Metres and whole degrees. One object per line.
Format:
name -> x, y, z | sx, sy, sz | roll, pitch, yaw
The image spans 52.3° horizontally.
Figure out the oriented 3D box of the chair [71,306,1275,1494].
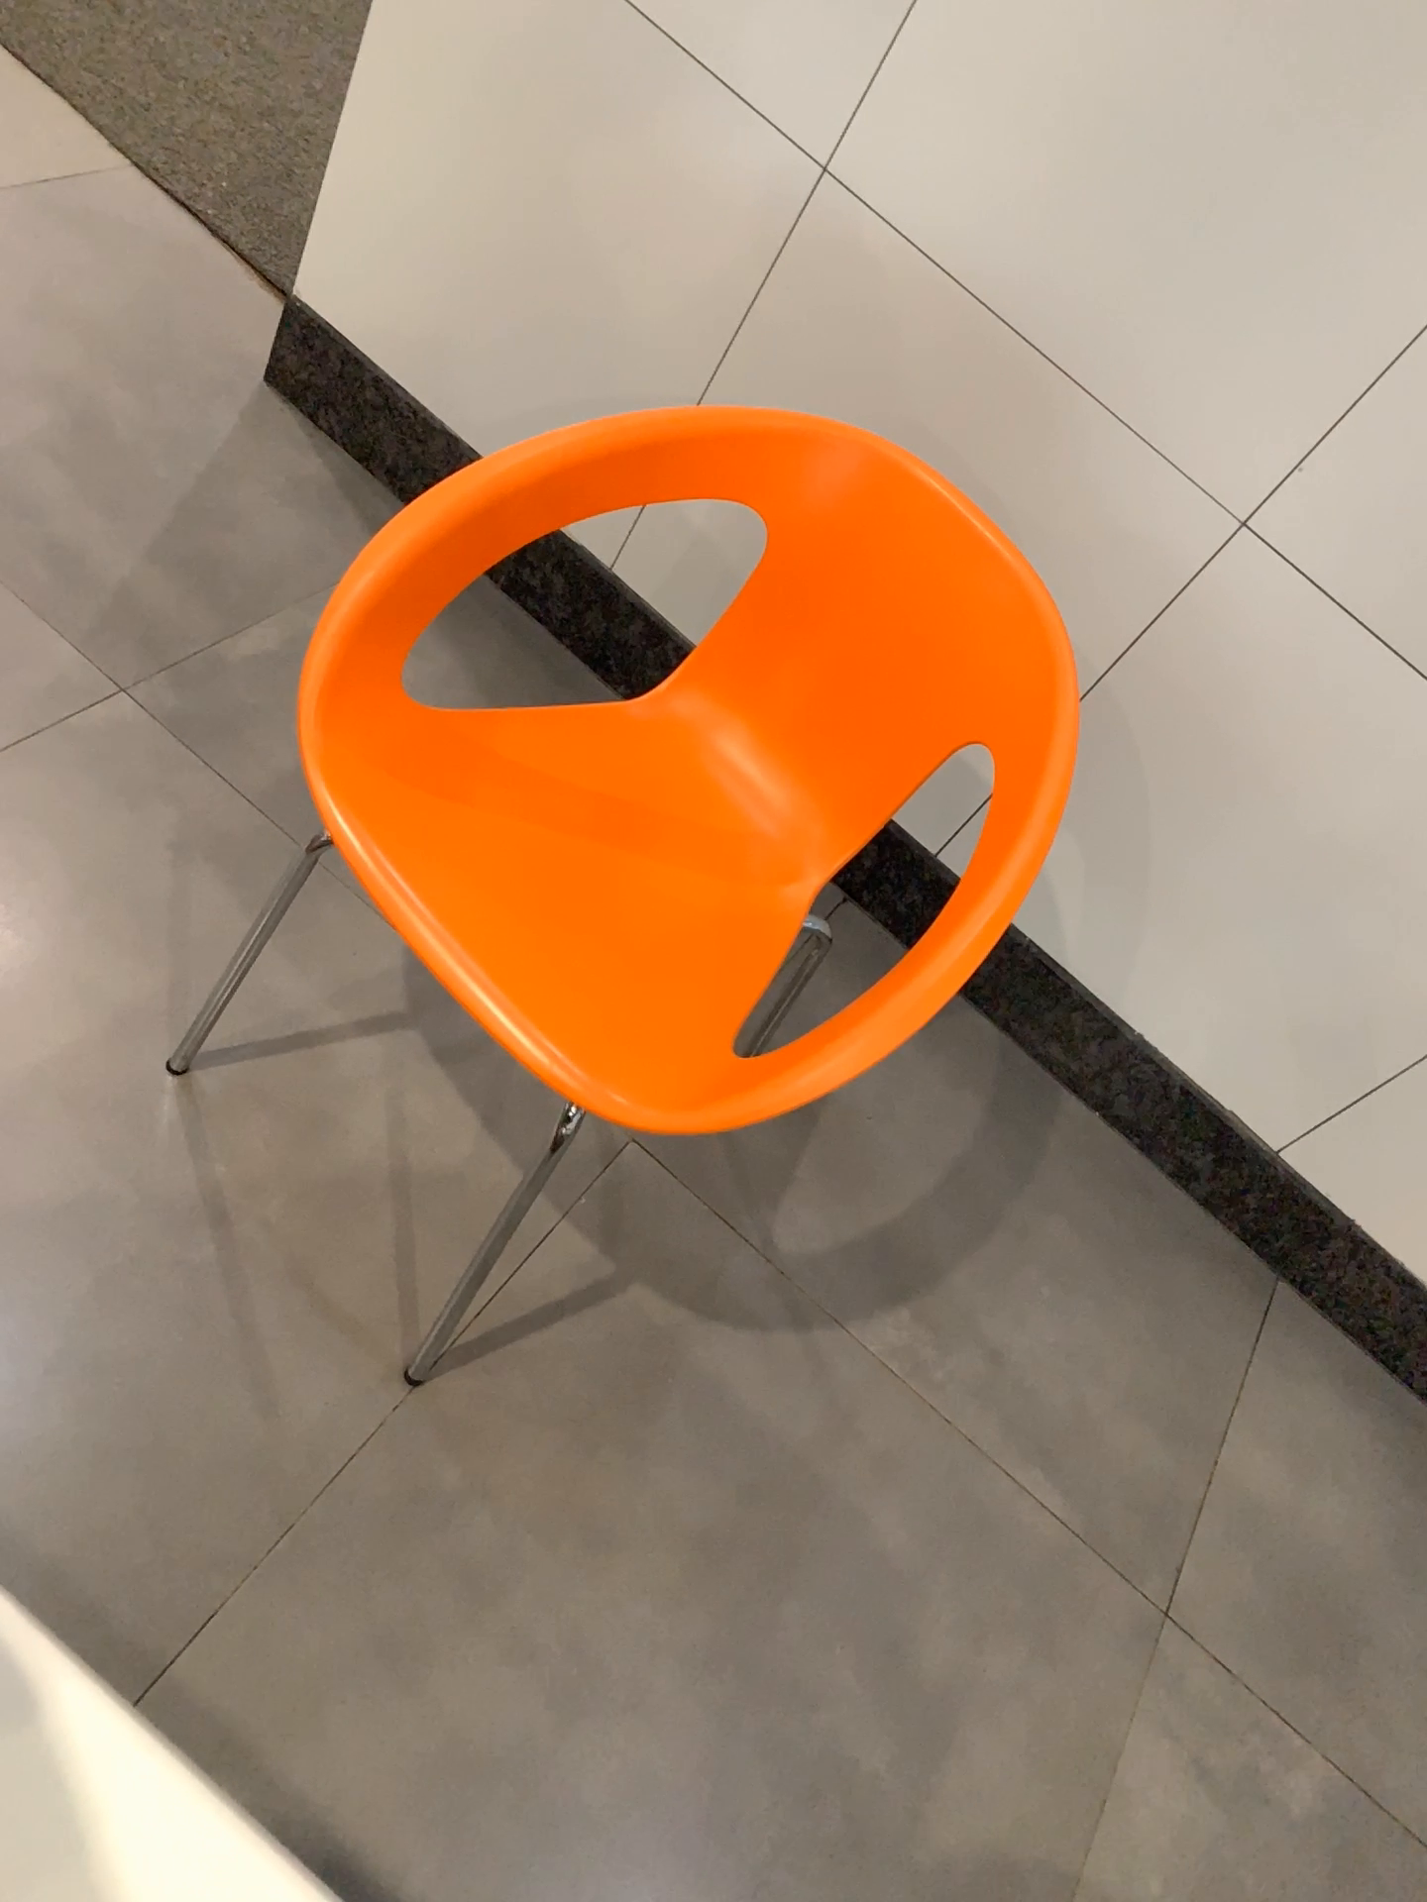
chair -> -0.066, -0.067, 1.347 | 0.661, 0.665, 0.644 | 48, 45, 10
